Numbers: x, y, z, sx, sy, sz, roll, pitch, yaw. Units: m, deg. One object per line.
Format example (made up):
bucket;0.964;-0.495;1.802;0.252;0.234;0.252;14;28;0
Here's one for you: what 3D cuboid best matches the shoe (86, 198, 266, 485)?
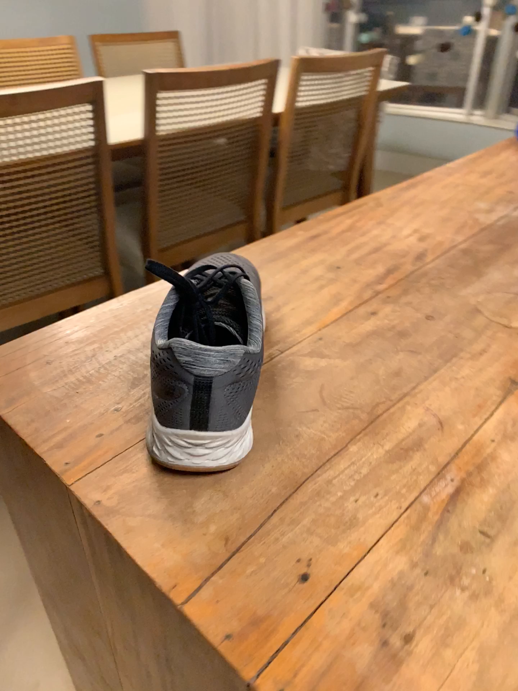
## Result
shoe;-0.049;-0.030;0.481;0.110;0.109;0.302;1;34;0
